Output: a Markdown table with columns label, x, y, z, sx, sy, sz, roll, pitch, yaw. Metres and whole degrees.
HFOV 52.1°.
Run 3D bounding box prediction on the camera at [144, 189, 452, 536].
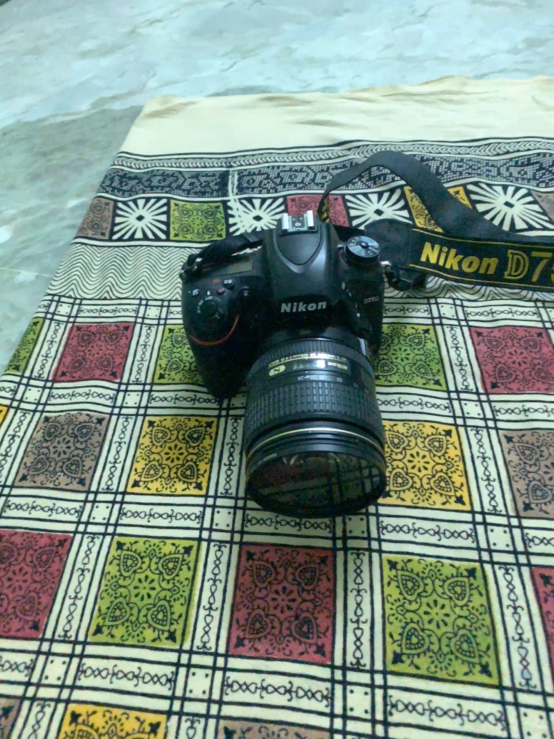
| label | x | y | z | sx | sy | sz | roll | pitch | yaw |
| --- | --- | --- | --- | --- | --- | --- | --- | --- | --- |
| camera | 0.014 | -0.010 | 0.357 | 0.140 | 0.100 | 0.191 | -4 | 48 | 5 |
